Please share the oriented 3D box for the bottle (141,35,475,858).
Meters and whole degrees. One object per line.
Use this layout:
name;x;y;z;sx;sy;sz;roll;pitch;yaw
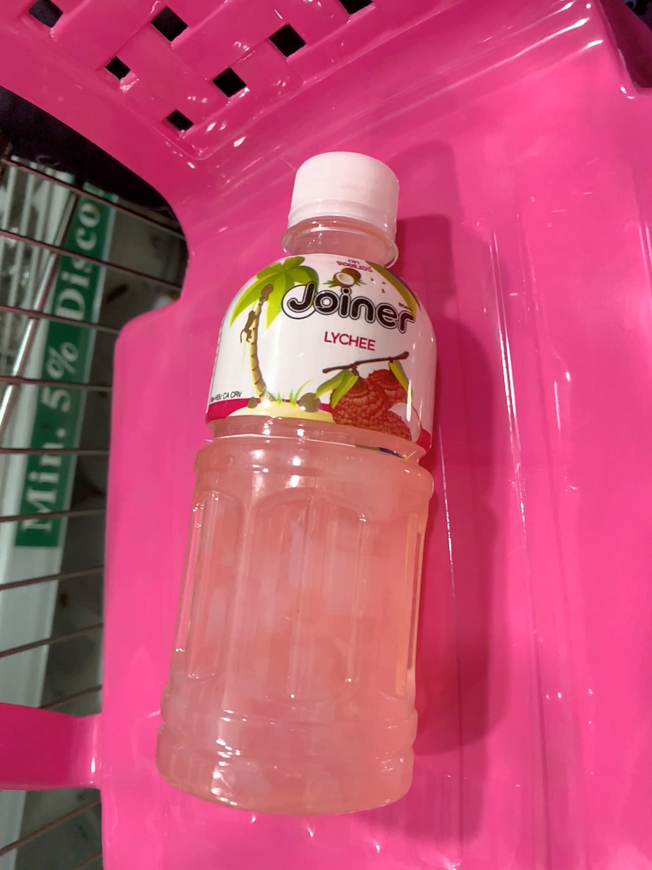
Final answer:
bottle;-0.006;0.001;0.177;0.060;0.060;0.170;160;115;-68
